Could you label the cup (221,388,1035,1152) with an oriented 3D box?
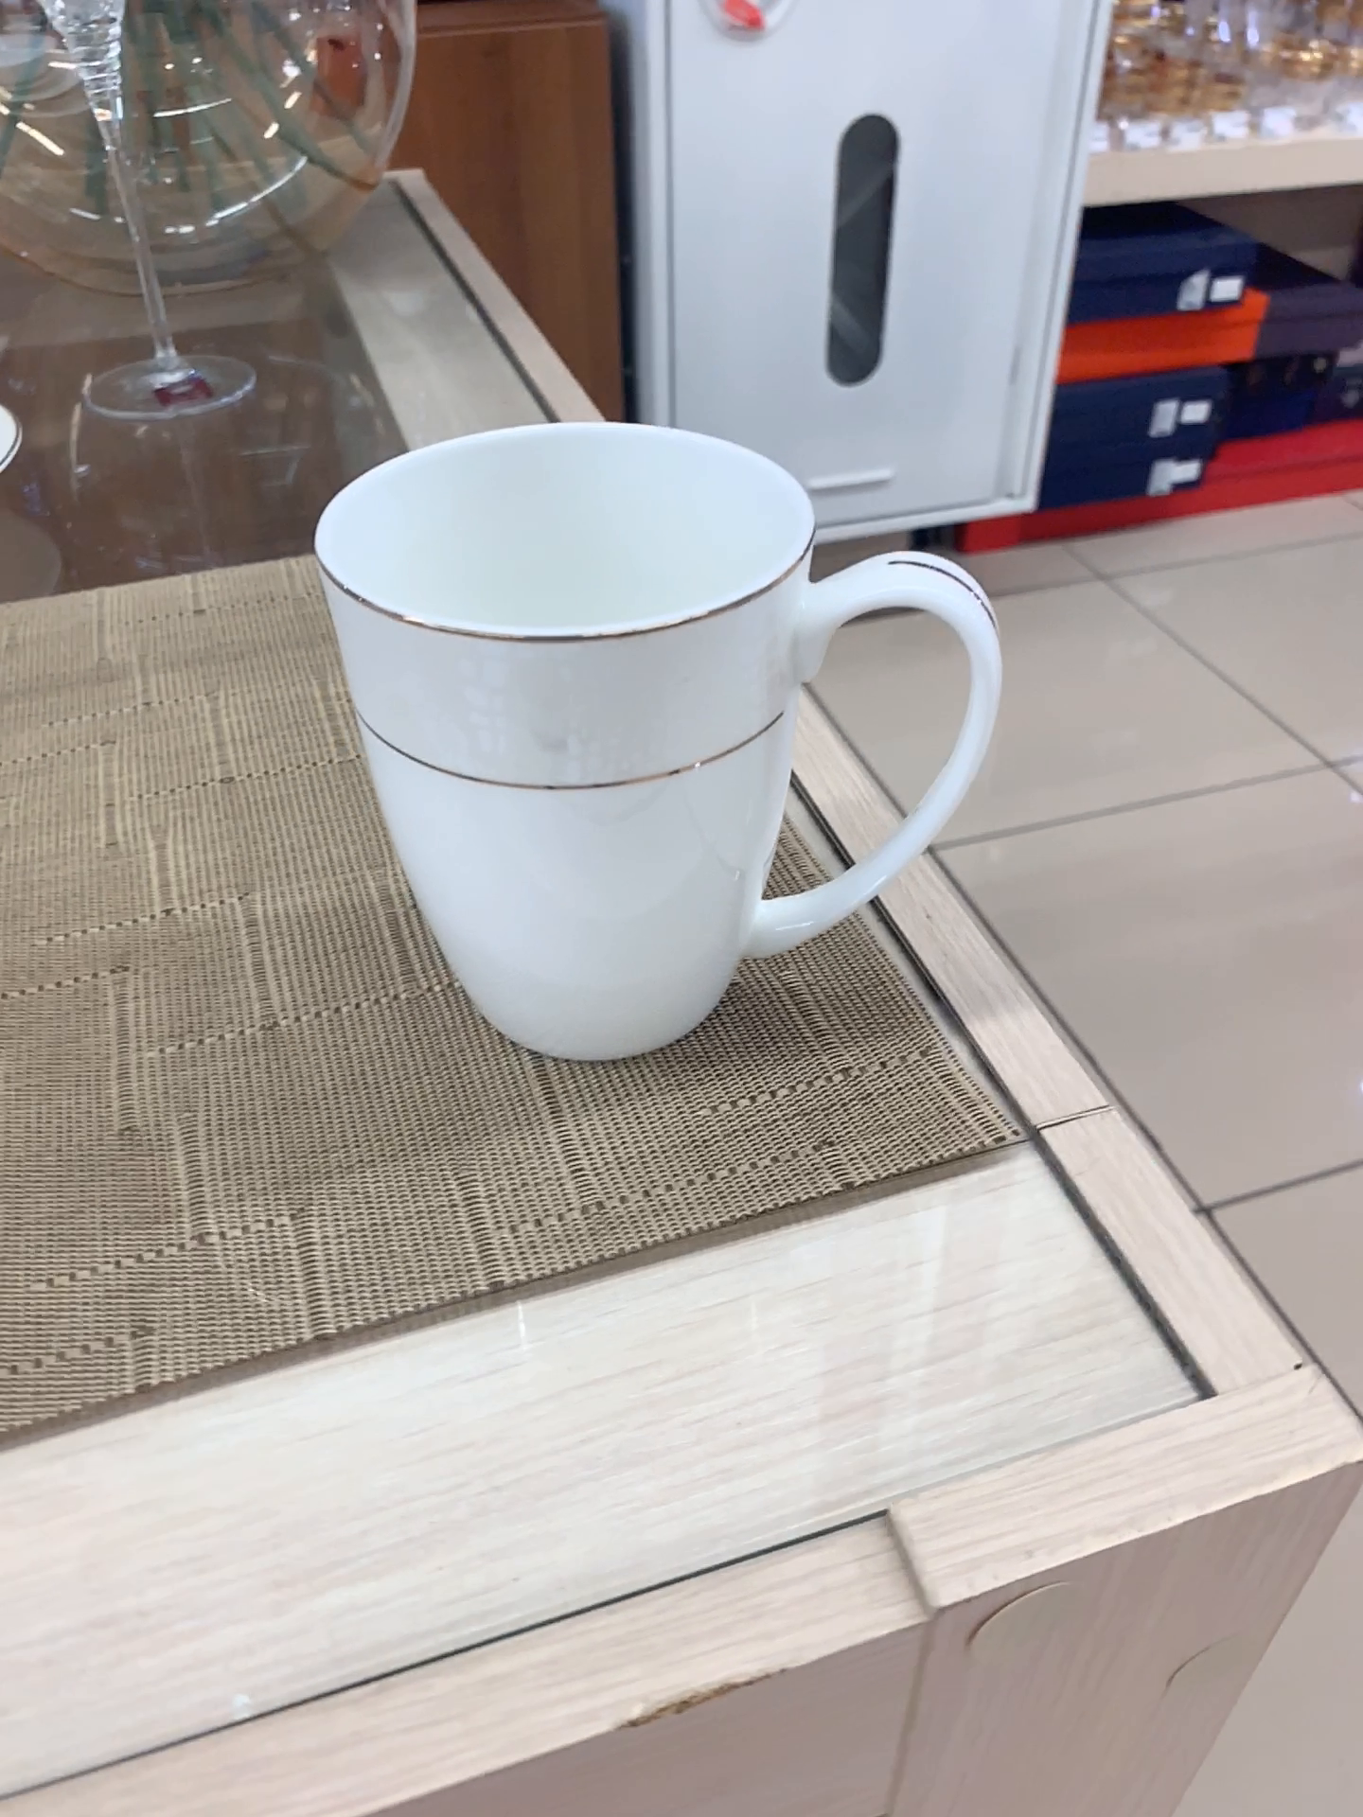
[{"bbox_3d":[-0.003,-0.032,0.278,0.120,0.100,0.090,10,40,13],"label":"cup"}]
